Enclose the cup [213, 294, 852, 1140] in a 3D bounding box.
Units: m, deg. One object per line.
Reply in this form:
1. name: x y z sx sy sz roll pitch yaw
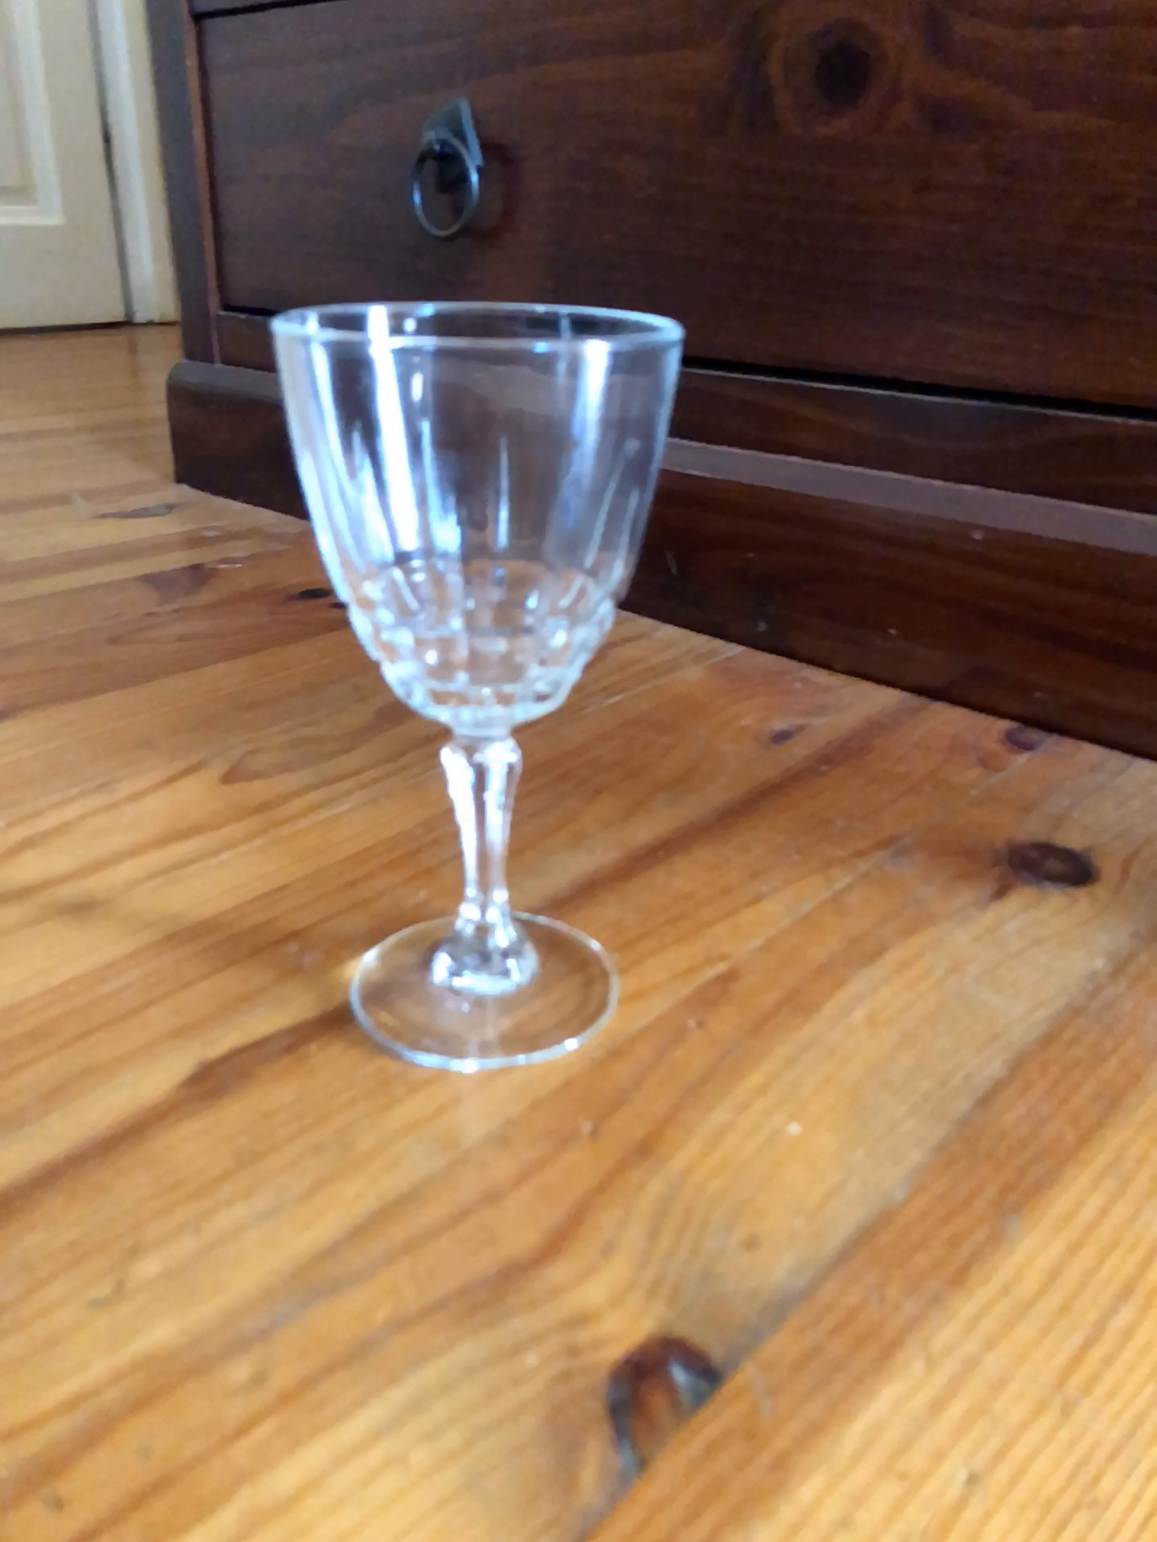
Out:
1. cup: -0.012 -0.020 0.263 0.084 0.141 0.084 2 25 -1
